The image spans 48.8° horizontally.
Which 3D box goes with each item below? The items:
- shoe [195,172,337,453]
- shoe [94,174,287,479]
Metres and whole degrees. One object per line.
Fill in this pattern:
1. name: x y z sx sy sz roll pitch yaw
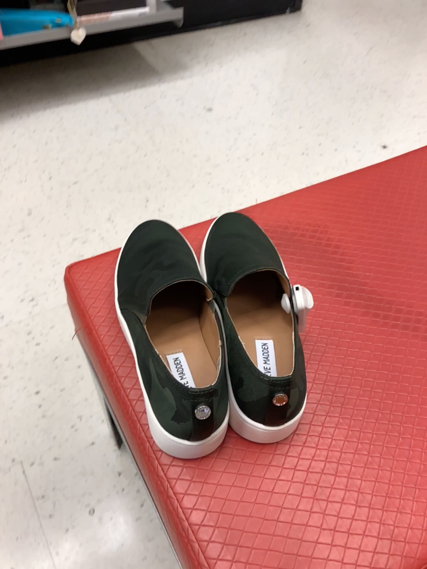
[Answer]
1. shoe: 0.034 0.010 0.466 0.077 0.086 0.277 -3 50 -7
2. shoe: -0.038 0.020 0.449 0.105 0.086 0.277 -10 52 -13
